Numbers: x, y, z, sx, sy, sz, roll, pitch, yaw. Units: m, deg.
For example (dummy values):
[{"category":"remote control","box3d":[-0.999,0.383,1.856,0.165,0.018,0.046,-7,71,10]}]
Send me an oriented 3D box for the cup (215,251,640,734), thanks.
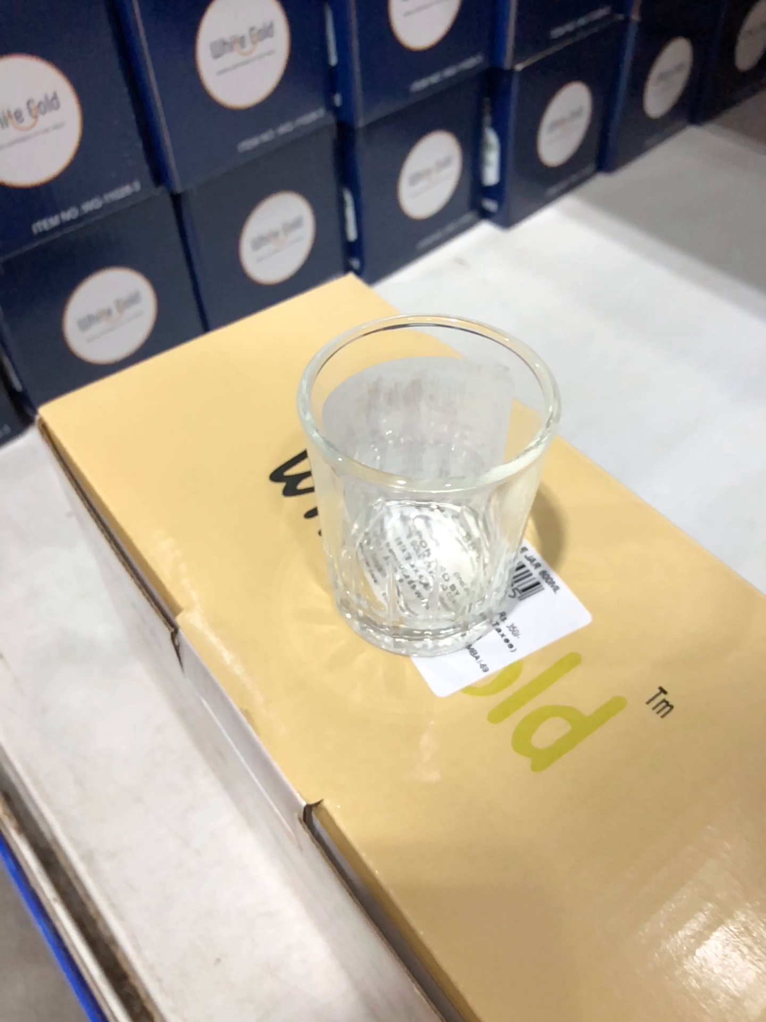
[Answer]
[{"category":"cup","box3d":[0.009,-0.004,0.166,0.050,0.060,0.050,-1,49,2]}]
